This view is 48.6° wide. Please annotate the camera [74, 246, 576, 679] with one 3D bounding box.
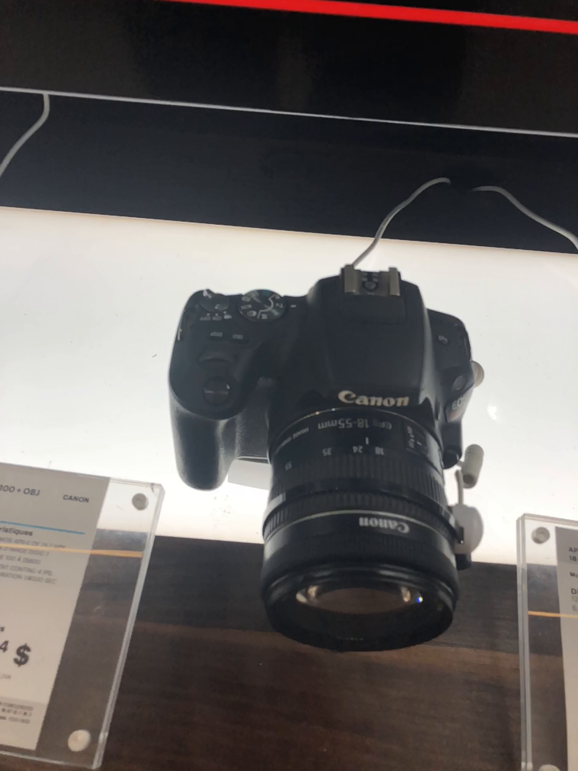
[{"bbox_3d":[0.010,0.024,0.228,0.124,0.082,0.119,4,47,1],"label":"camera"}]
